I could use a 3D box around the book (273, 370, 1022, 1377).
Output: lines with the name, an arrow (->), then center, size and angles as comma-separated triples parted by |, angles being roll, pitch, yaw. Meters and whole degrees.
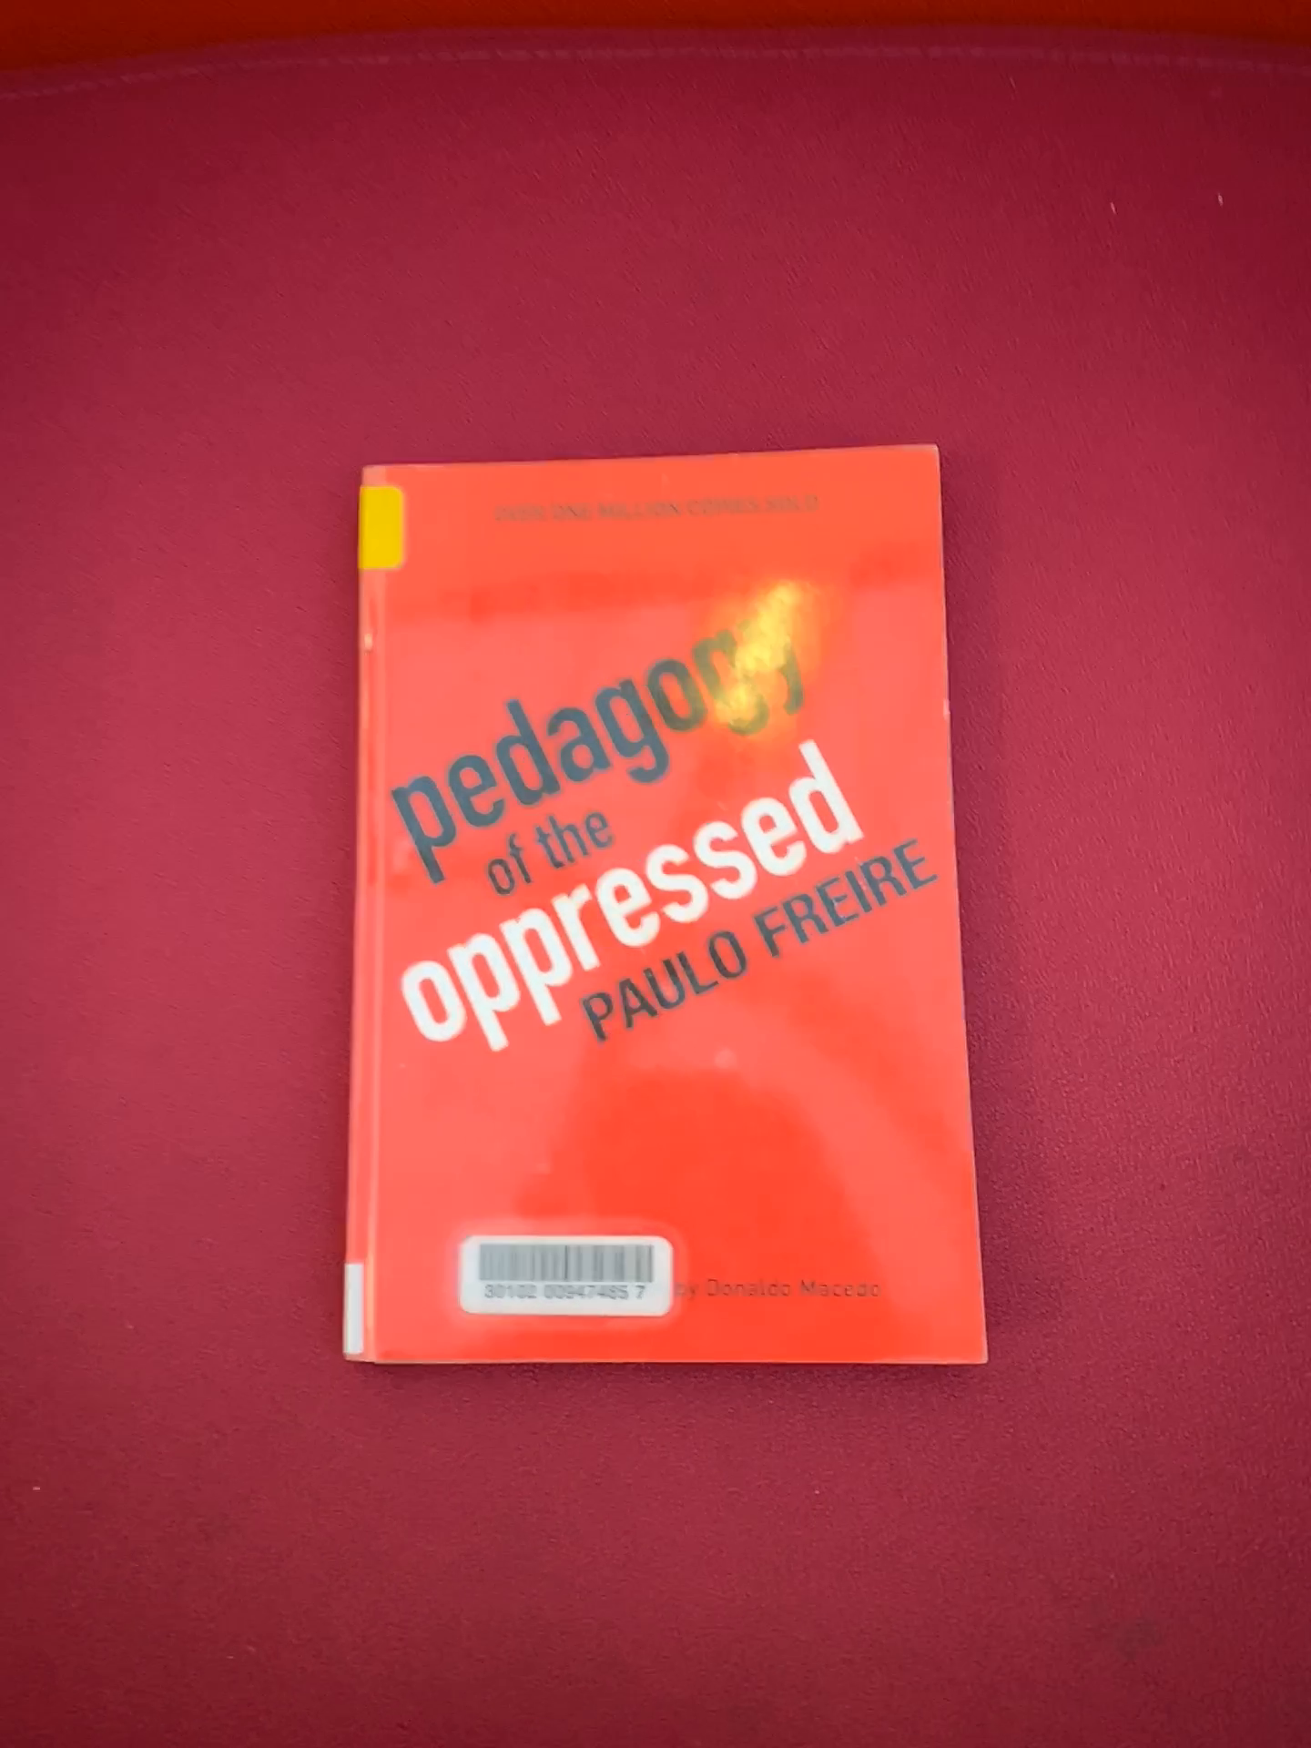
book -> -0.005, -0.003, 0.338 | 0.170, 0.030, 0.240 | -2, 80, 3
